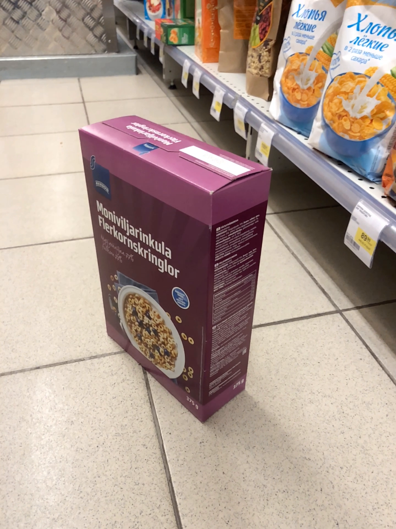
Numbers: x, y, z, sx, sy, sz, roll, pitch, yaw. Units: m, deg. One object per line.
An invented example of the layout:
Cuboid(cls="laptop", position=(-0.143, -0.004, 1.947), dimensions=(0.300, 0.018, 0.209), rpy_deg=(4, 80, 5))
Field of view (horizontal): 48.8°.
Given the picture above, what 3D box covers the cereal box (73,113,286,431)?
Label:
Cuboid(cls="cereal box", position=(-0.031, 0.006, 0.484), dimensions=(0.080, 0.278, 0.211), rpy_deg=(-26, 43, -35))
